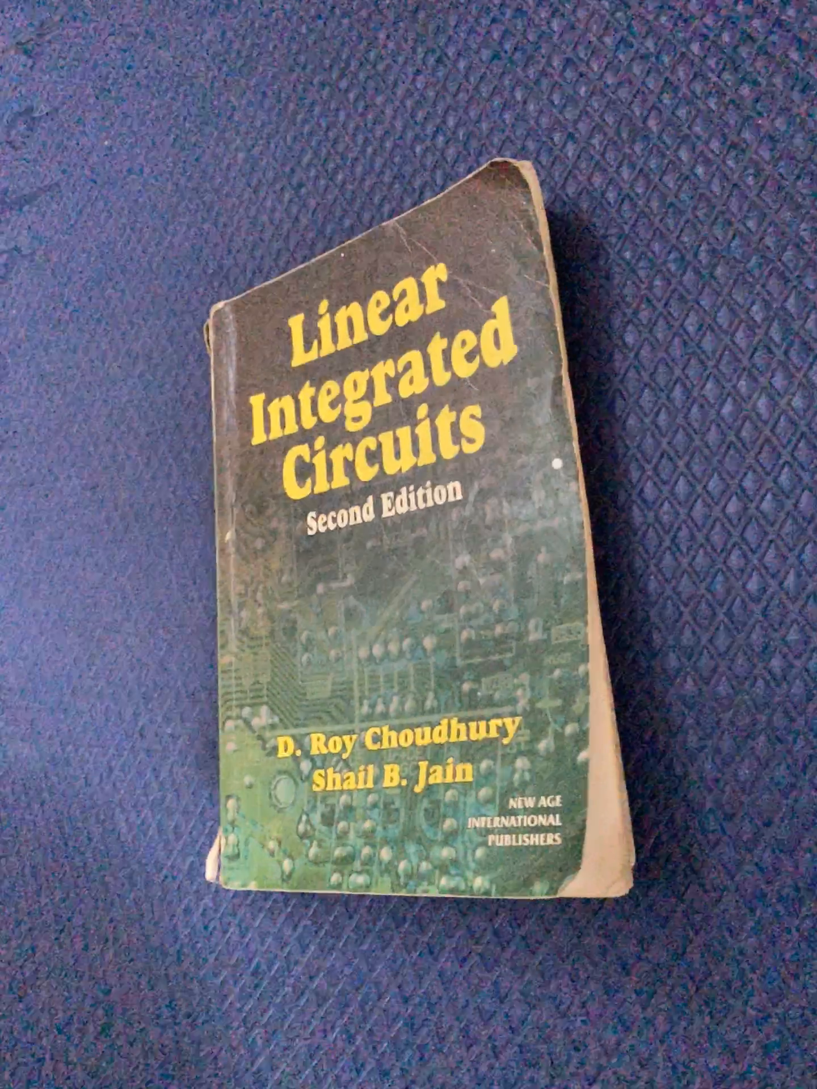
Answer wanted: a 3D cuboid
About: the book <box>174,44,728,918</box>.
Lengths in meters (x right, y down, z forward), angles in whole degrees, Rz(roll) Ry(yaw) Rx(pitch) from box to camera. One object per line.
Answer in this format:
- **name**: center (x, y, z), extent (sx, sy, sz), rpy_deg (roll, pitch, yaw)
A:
- **book**: center (-0.005, -0.015, 0.314), extent (0.191, 0.040, 0.270), rpy_deg (-12, 74, 31)
